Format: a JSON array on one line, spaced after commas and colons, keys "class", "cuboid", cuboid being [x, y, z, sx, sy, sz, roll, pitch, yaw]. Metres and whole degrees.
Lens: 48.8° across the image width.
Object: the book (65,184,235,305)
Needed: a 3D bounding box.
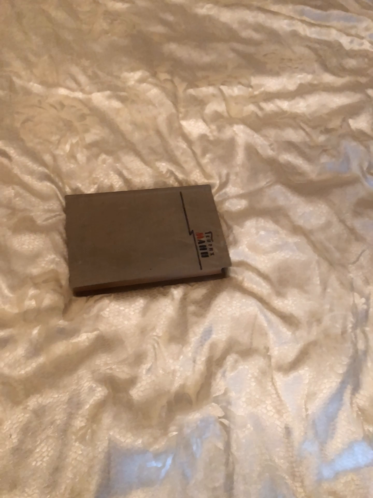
[{"class": "book", "cuboid": [-0.054, -0.011, 0.566, 0.208, 0.051, 0.142, -5, 61, -12]}]
